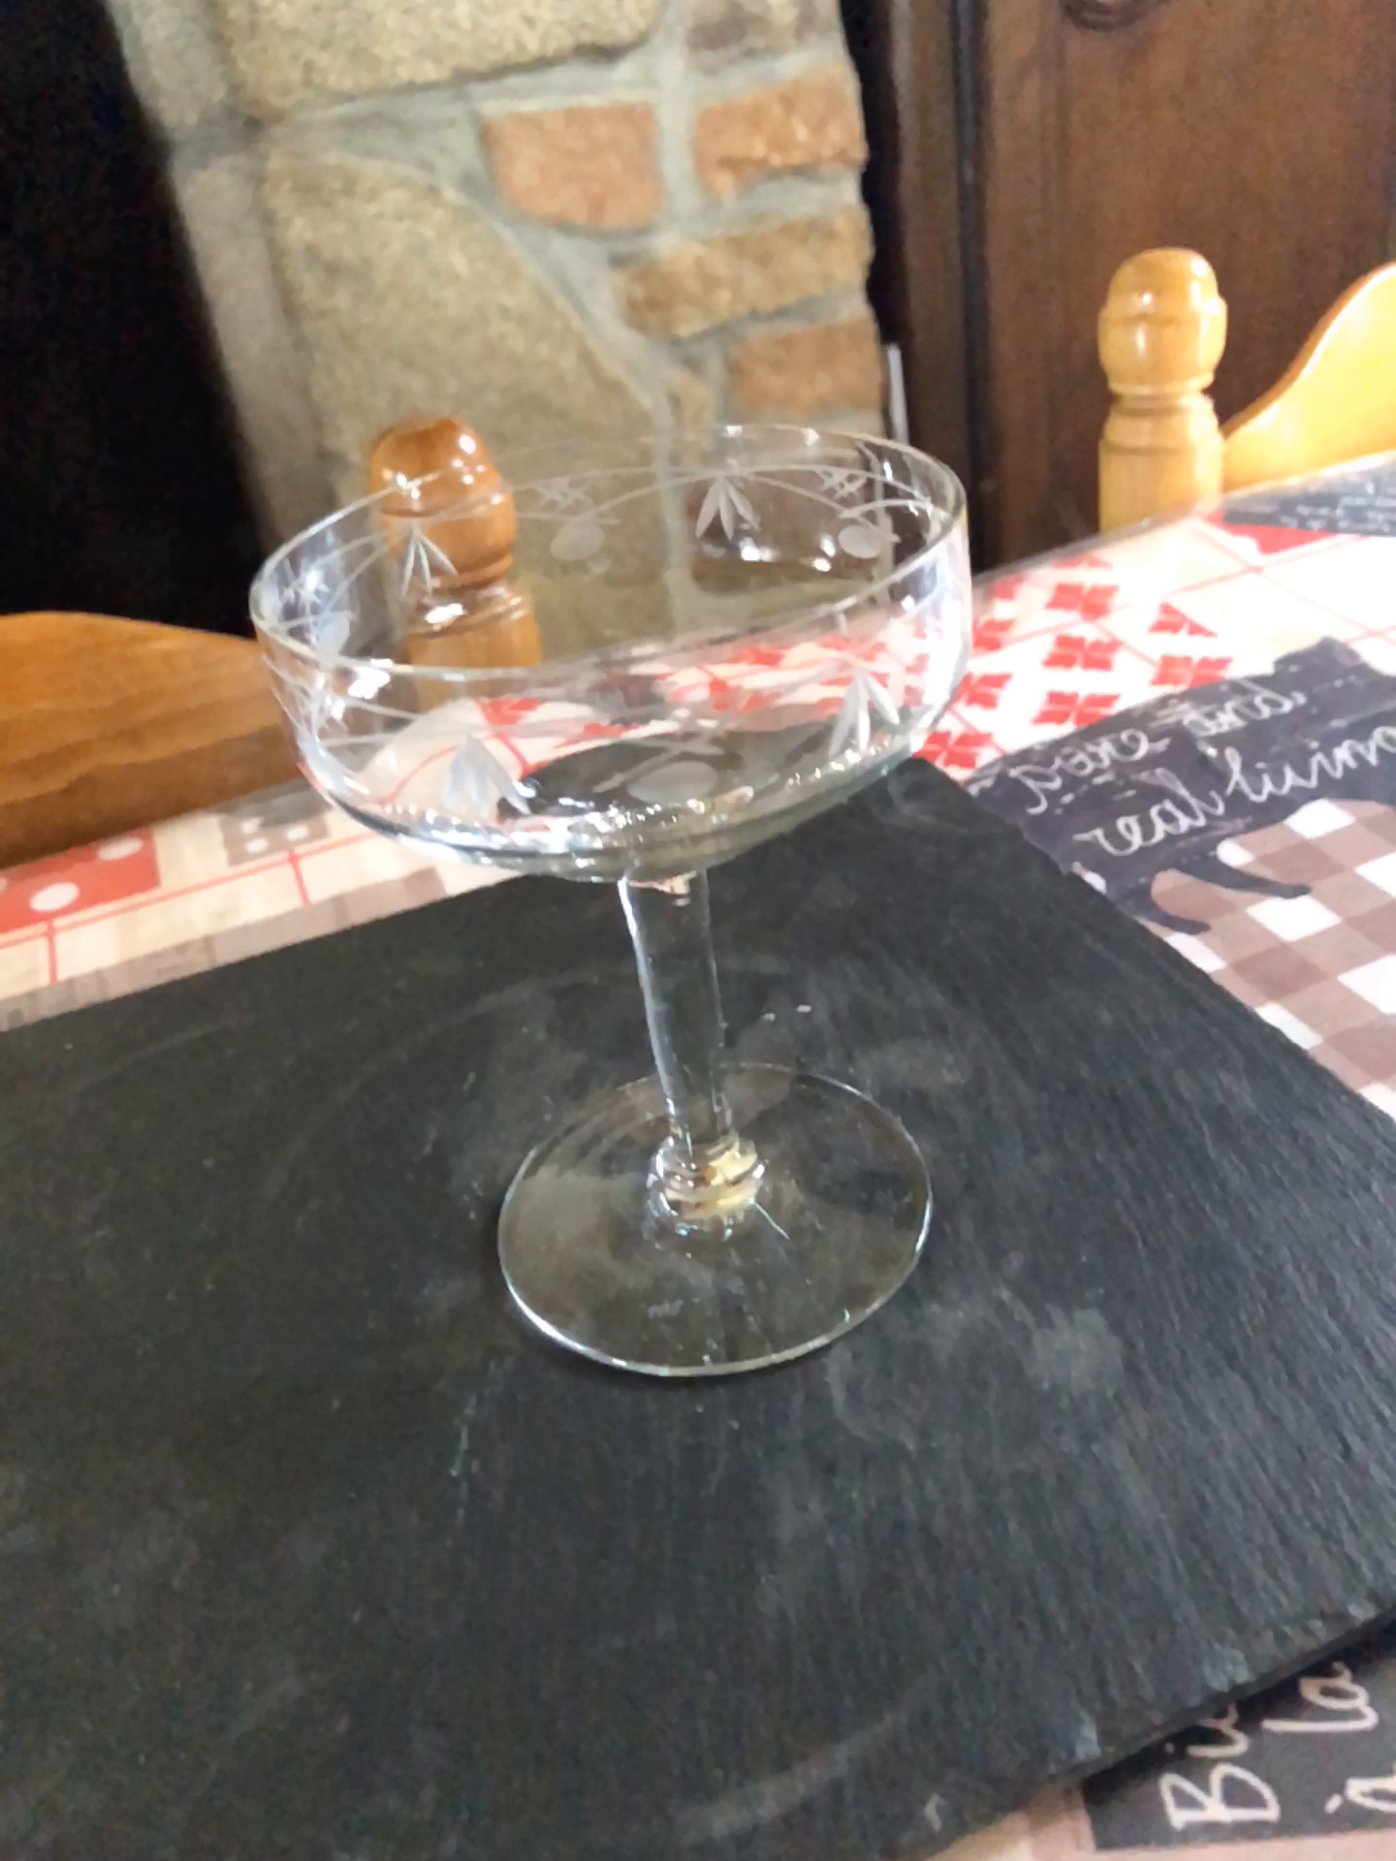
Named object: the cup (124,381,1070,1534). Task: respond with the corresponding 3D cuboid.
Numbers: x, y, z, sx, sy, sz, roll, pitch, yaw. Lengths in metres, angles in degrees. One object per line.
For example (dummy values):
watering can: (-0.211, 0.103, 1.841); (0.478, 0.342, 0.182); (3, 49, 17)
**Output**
cup: (-0.011, -0.004, 0.230); (0.090, 0.119, 0.090); (-6, 31, 4)
